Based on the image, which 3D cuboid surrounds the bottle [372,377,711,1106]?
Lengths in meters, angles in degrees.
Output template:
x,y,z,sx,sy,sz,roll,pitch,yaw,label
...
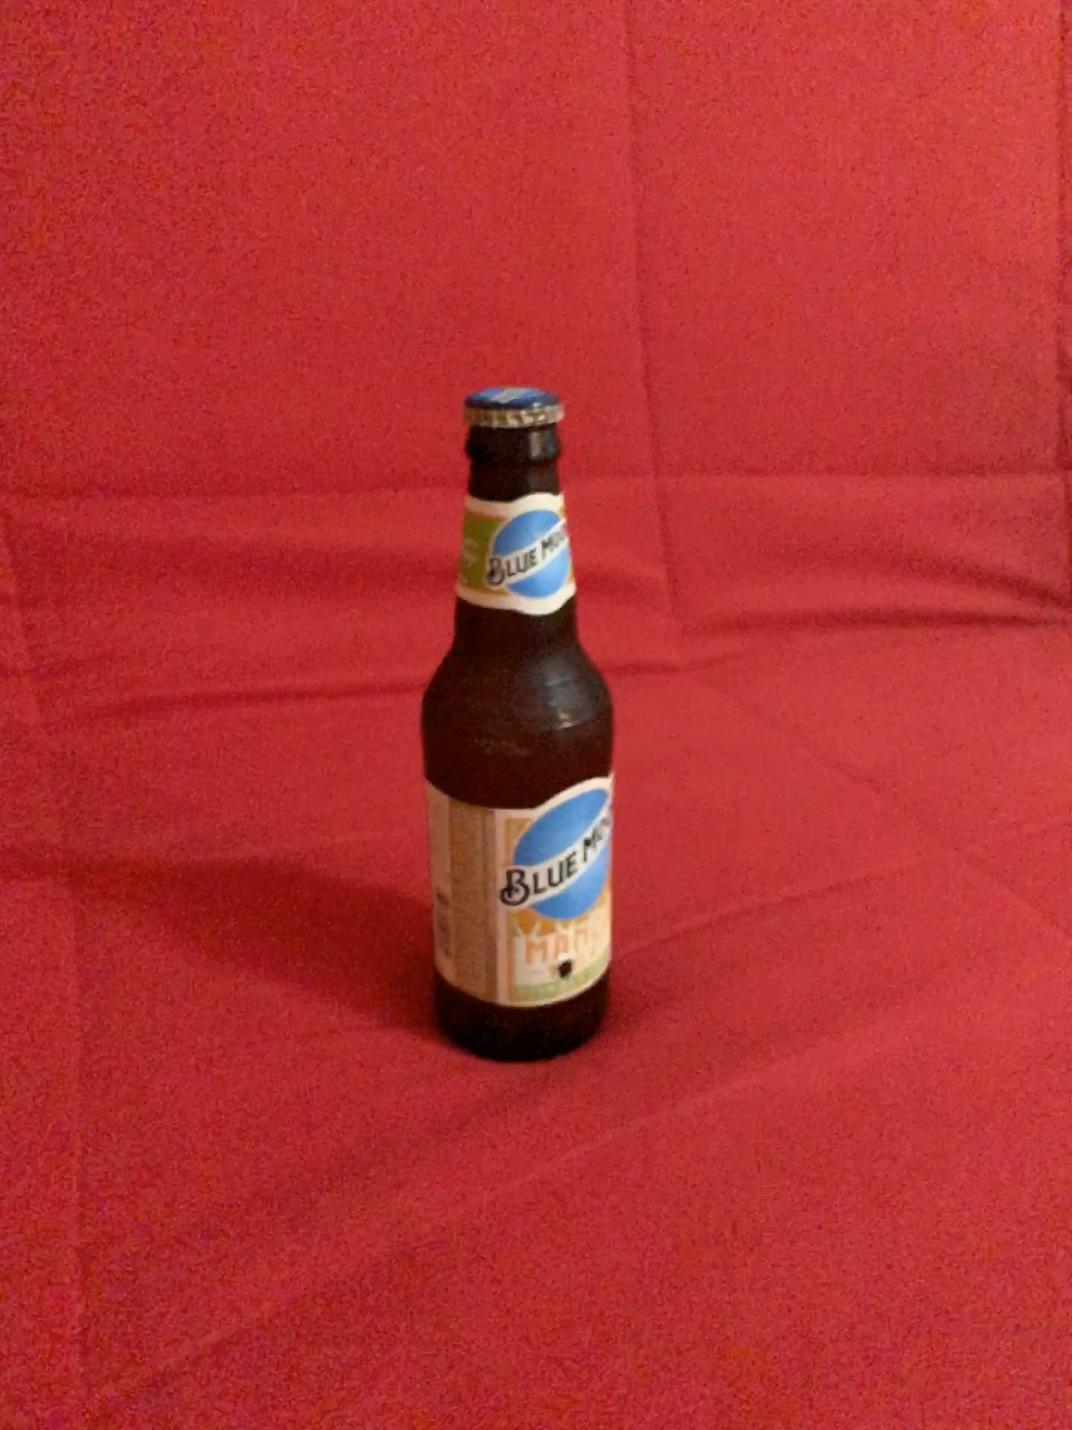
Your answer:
x,y,z,sx,sy,sz,roll,pitch,yaw,label
-0.003,0.011,0.358,0.070,0.216,0.069,1,27,-1,bottle
